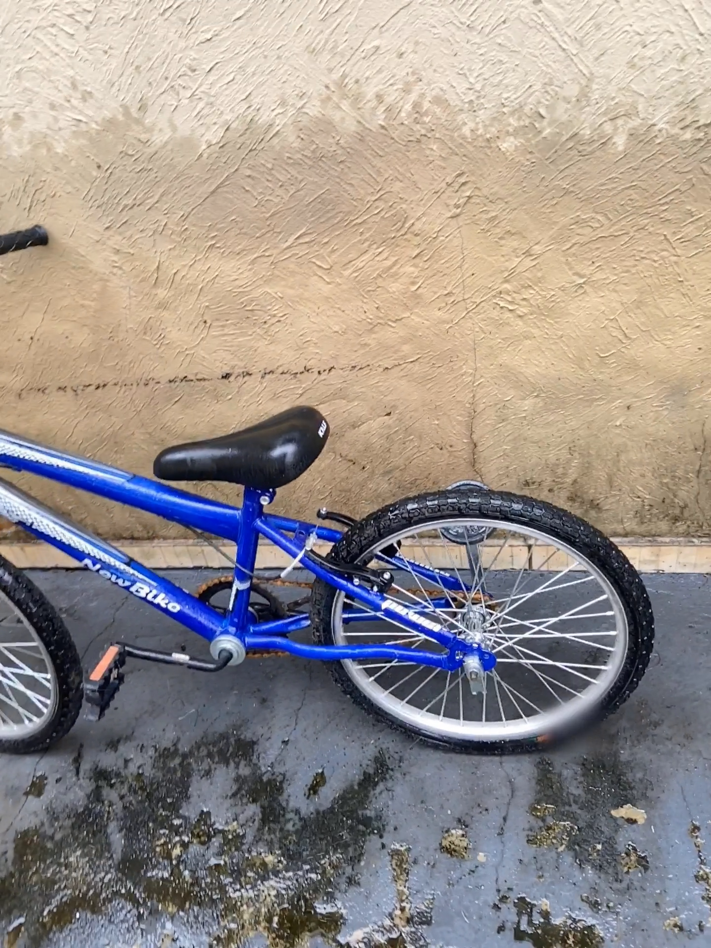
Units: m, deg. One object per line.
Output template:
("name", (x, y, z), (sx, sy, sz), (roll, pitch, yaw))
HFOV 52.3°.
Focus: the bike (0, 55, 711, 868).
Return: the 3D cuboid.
("bike", (-0.249, 0.006, 1.021), (1.249, 0.849, 0.546), (-1, 38, 12))
